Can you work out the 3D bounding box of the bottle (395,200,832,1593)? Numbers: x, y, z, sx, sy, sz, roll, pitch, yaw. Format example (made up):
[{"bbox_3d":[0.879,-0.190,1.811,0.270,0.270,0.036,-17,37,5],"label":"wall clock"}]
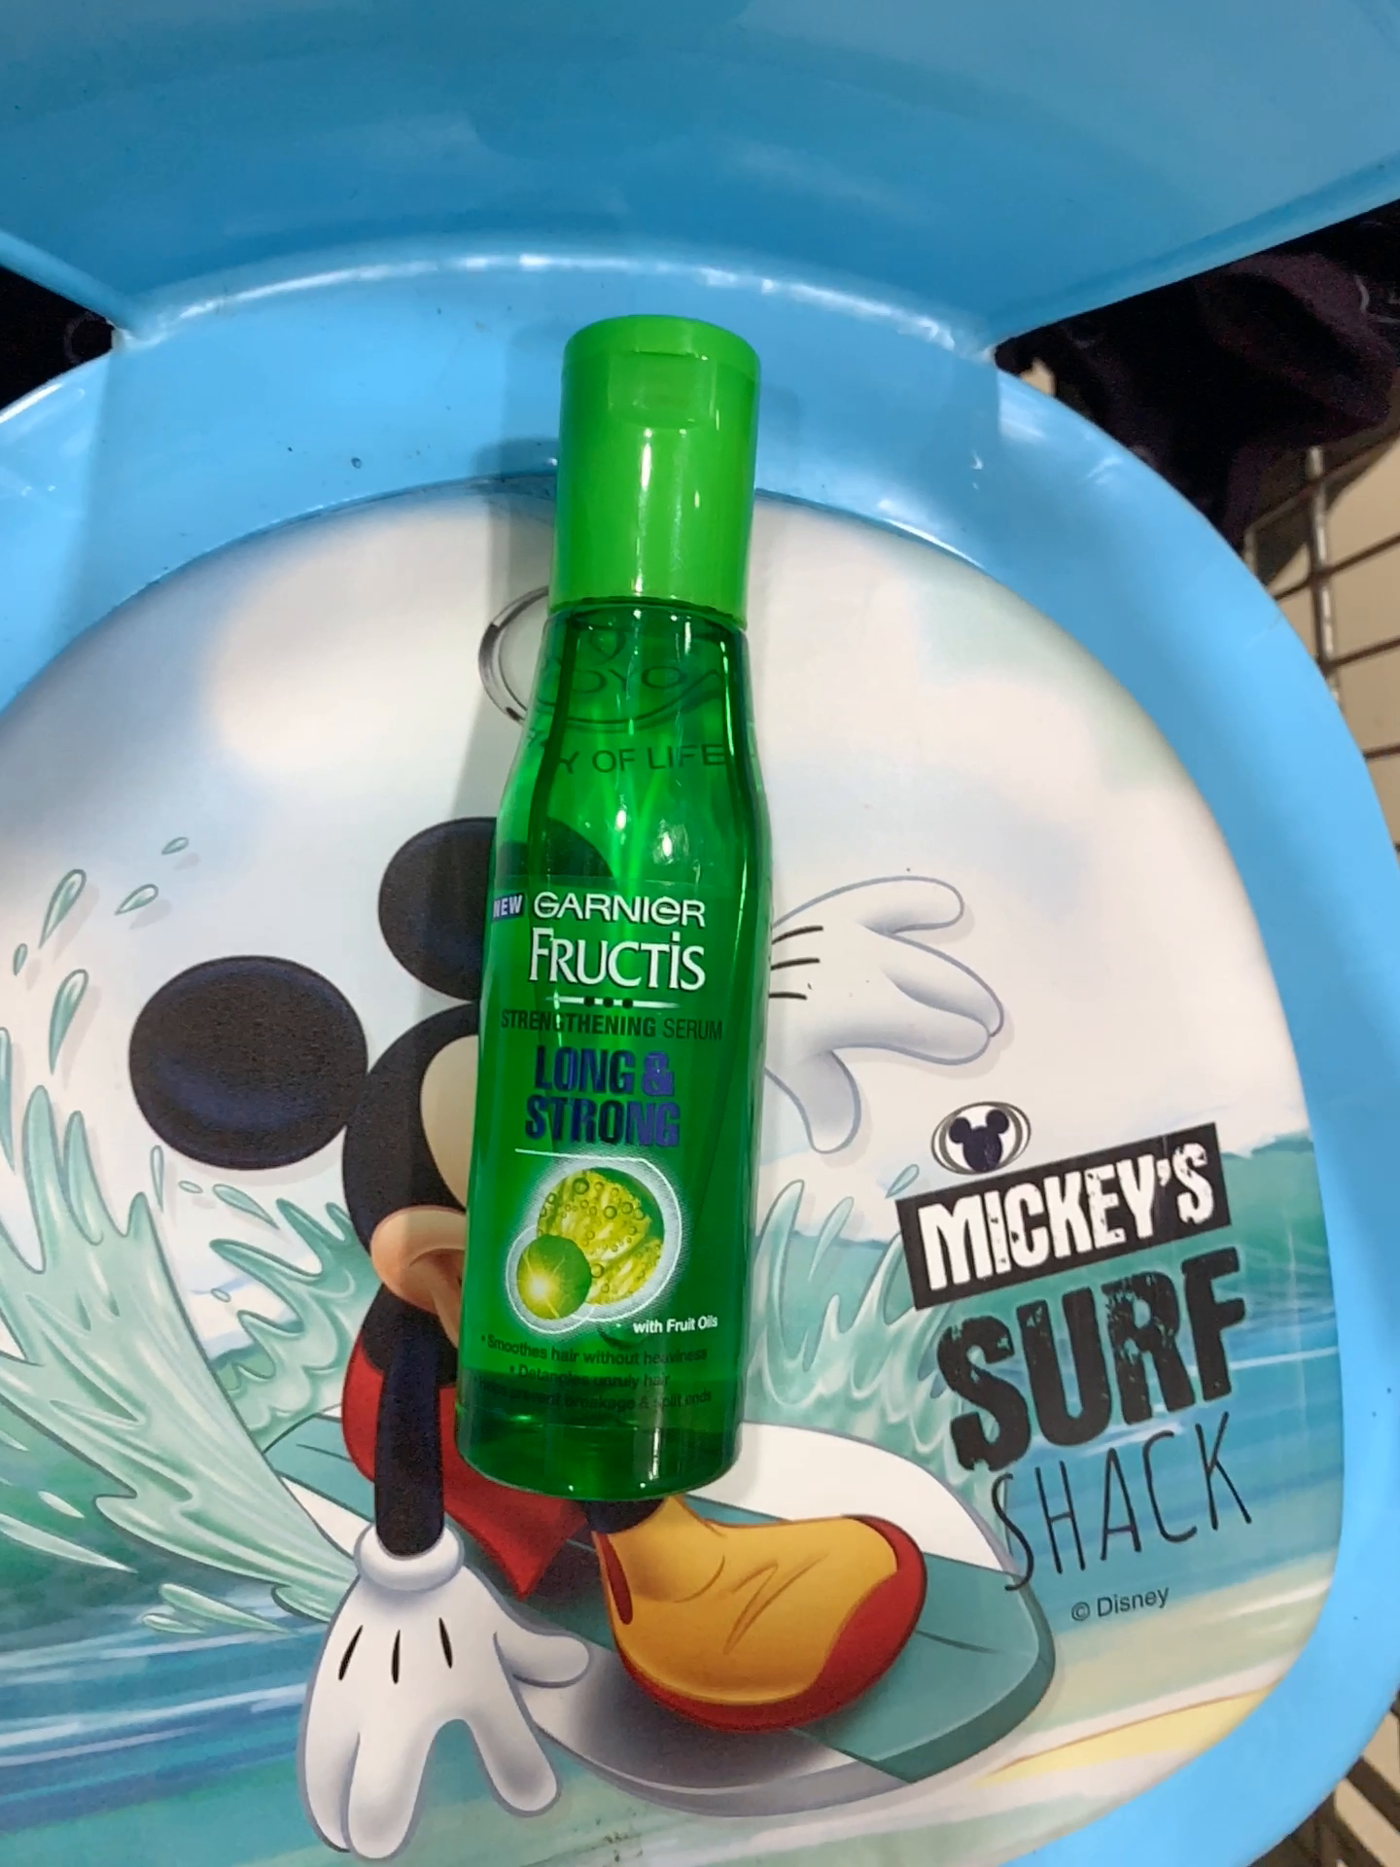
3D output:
[{"bbox_3d":[-0.008,-0.006,0.190,0.040,0.040,0.160,2,86,12],"label":"bottle"}]
